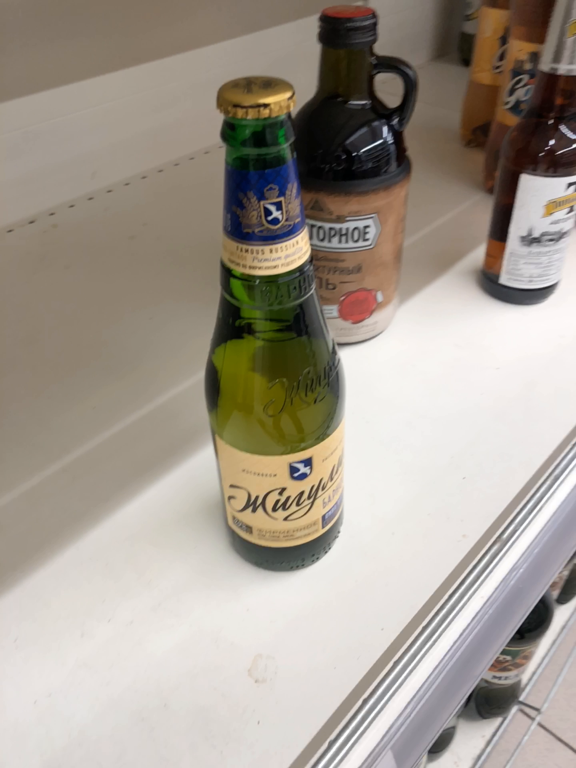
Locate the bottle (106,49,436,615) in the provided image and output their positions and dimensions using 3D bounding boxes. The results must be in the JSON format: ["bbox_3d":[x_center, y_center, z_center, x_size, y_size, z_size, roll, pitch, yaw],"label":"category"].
[{"bbox_3d":[-0.006,-0.006,0.301,0.090,0.249,0.080,-17,43,-16],"label":"bottle"}]
